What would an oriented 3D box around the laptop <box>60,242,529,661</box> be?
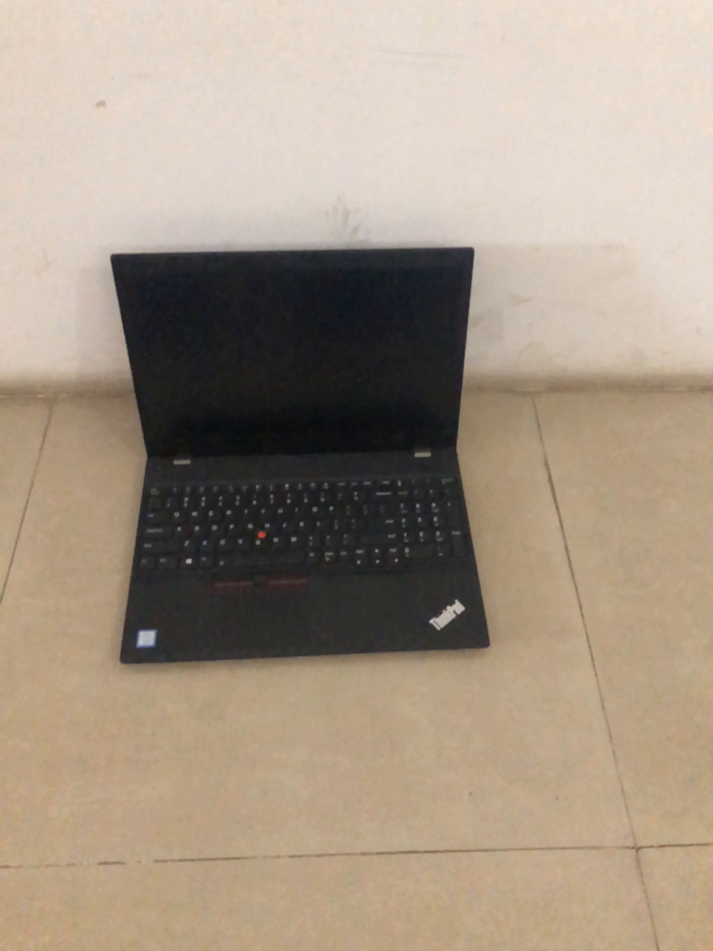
[{"bbox_3d":[-0.056,-0.028,0.769,0.351,0.215,0.328,-2,54,-3],"label":"laptop"}]
